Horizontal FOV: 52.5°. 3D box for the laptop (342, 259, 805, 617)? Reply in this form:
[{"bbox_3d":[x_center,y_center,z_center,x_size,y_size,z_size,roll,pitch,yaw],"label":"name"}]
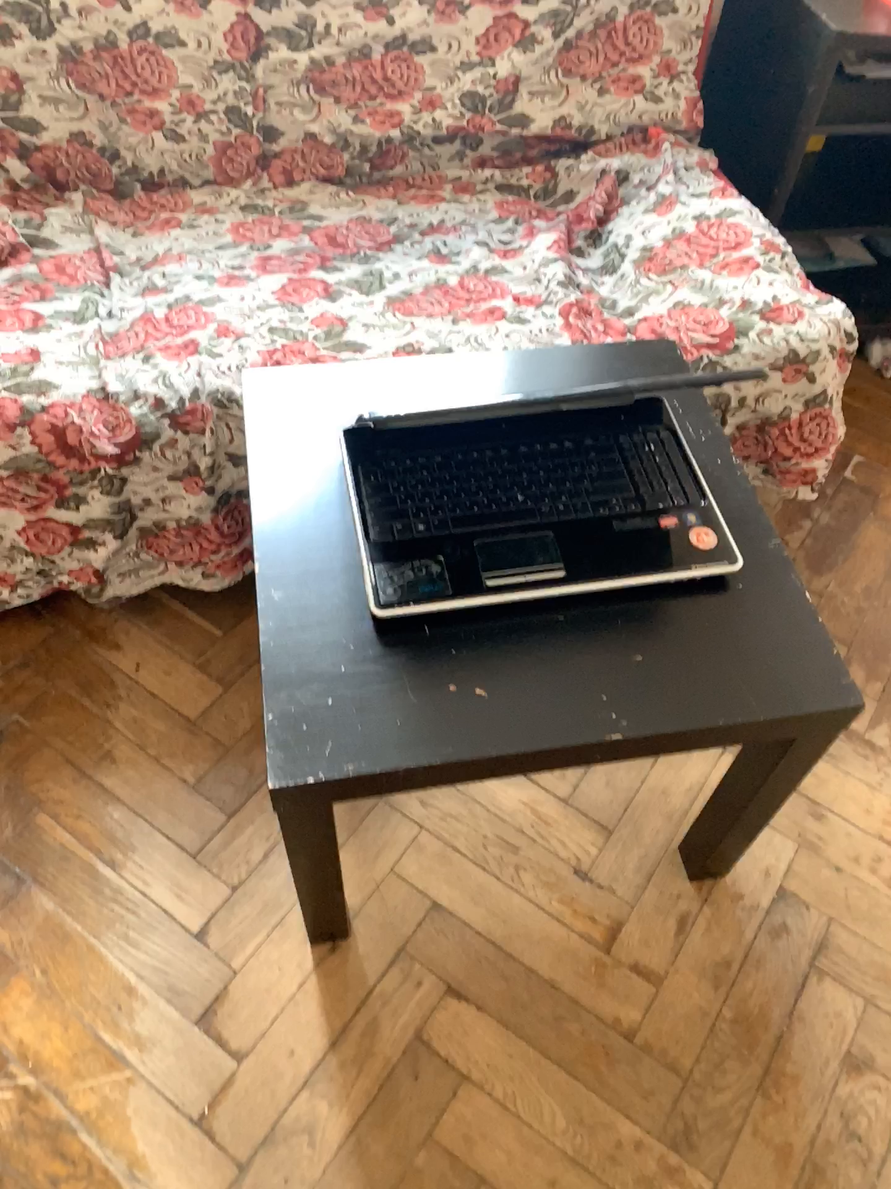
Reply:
[{"bbox_3d":[0.099,-0.158,0.882,0.365,0.177,0.252,-8,54,-9],"label":"laptop"}]
